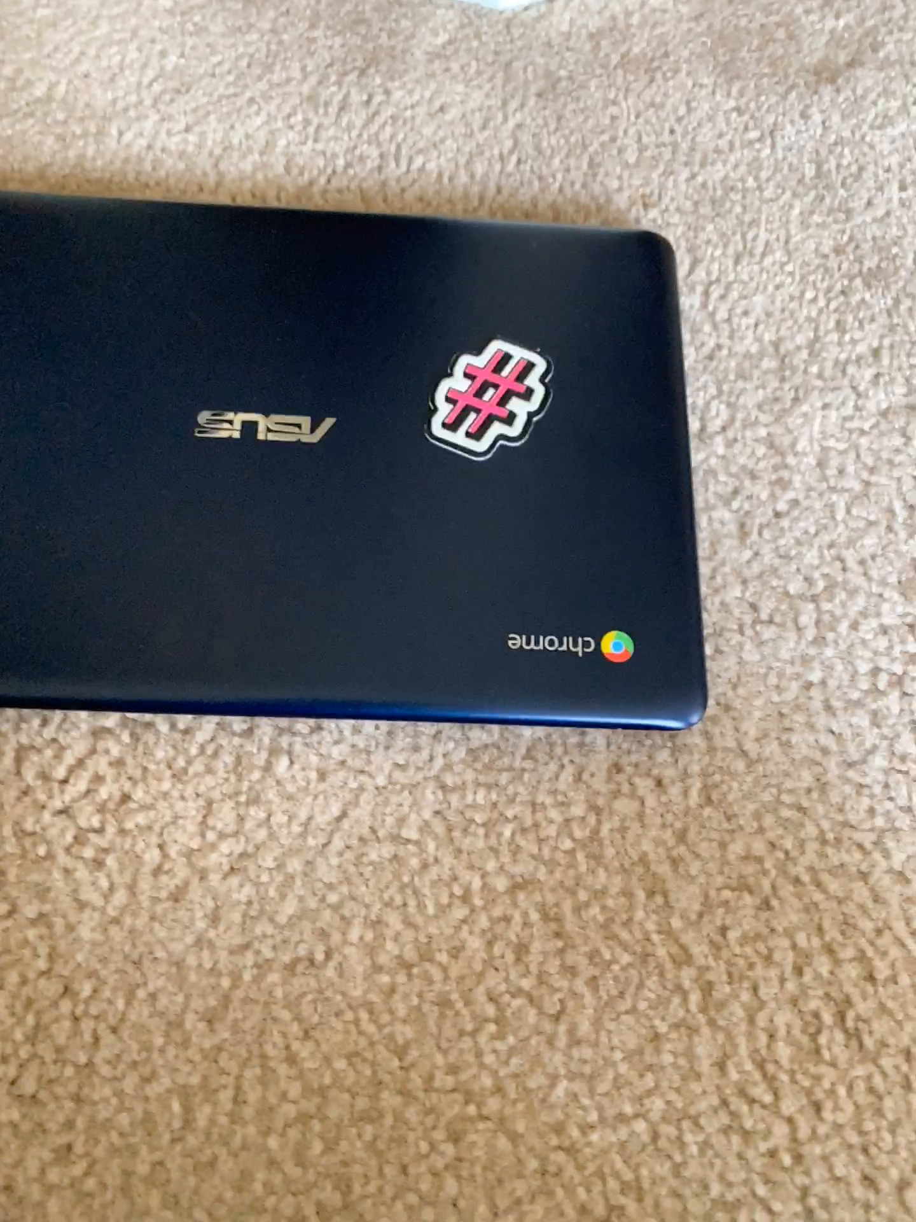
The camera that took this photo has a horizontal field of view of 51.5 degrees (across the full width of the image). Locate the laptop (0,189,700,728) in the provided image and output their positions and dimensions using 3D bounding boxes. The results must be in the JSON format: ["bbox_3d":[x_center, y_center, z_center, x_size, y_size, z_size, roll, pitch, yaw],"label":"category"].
[{"bbox_3d":[-0.061,-0.056,0.315,0.271,0.006,0.182,2,70,-3],"label":"laptop"}]
